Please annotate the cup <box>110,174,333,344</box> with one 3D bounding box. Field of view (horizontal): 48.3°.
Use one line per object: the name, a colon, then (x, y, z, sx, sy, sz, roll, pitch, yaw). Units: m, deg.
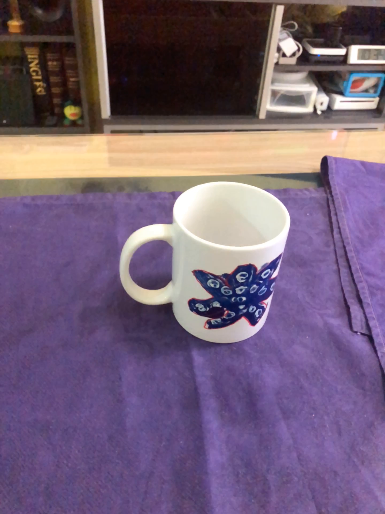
cup: (0.014, 0.002, 0.308, 0.130, 0.090, 0.080, 1, 41, -3)
